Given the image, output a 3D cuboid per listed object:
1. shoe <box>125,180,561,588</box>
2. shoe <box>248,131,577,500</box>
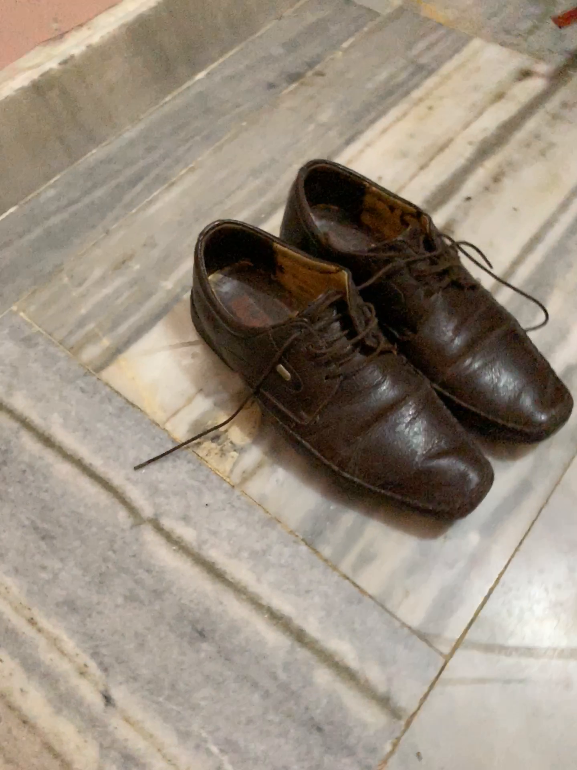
[{"bbox_3d":[0.022,-0.009,0.423,0.100,0.110,0.283,-40,66,-19],"label":"shoe"},{"bbox_3d":[0.105,-0.061,0.459,0.100,0.110,0.283,-40,66,-19],"label":"shoe"}]
